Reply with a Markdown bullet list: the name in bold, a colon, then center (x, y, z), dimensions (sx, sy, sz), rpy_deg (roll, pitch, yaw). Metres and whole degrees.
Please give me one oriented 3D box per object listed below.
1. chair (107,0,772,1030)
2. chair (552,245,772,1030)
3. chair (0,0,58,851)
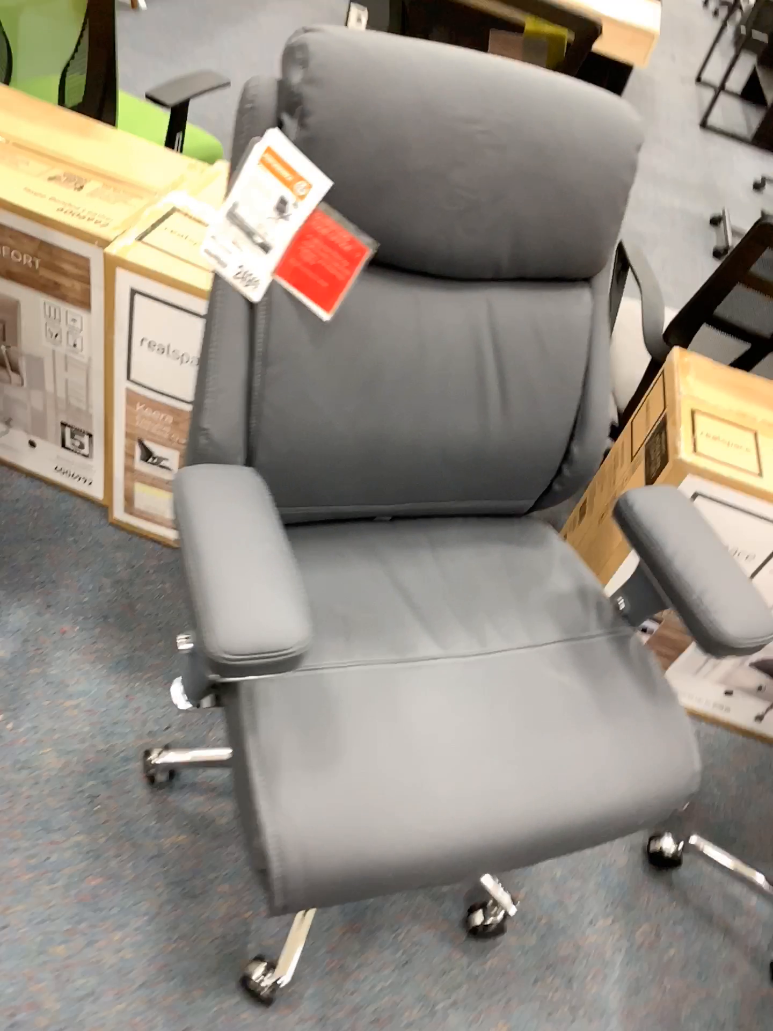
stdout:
- **chair**: center (0.078, 0.086, 1.041), dimensions (0.696, 1.076, 0.696), rpy_deg (-3, 49, -27)
- **chair**: center (0.917, 0.438, 0.975), dimensions (0.764, 1.096, 0.788), rpy_deg (38, 47, 18)
- **chair**: center (-1.020, -0.229, 1.026), dimensions (0.784, 0.976, 0.718), rpy_deg (21, 44, 1)
